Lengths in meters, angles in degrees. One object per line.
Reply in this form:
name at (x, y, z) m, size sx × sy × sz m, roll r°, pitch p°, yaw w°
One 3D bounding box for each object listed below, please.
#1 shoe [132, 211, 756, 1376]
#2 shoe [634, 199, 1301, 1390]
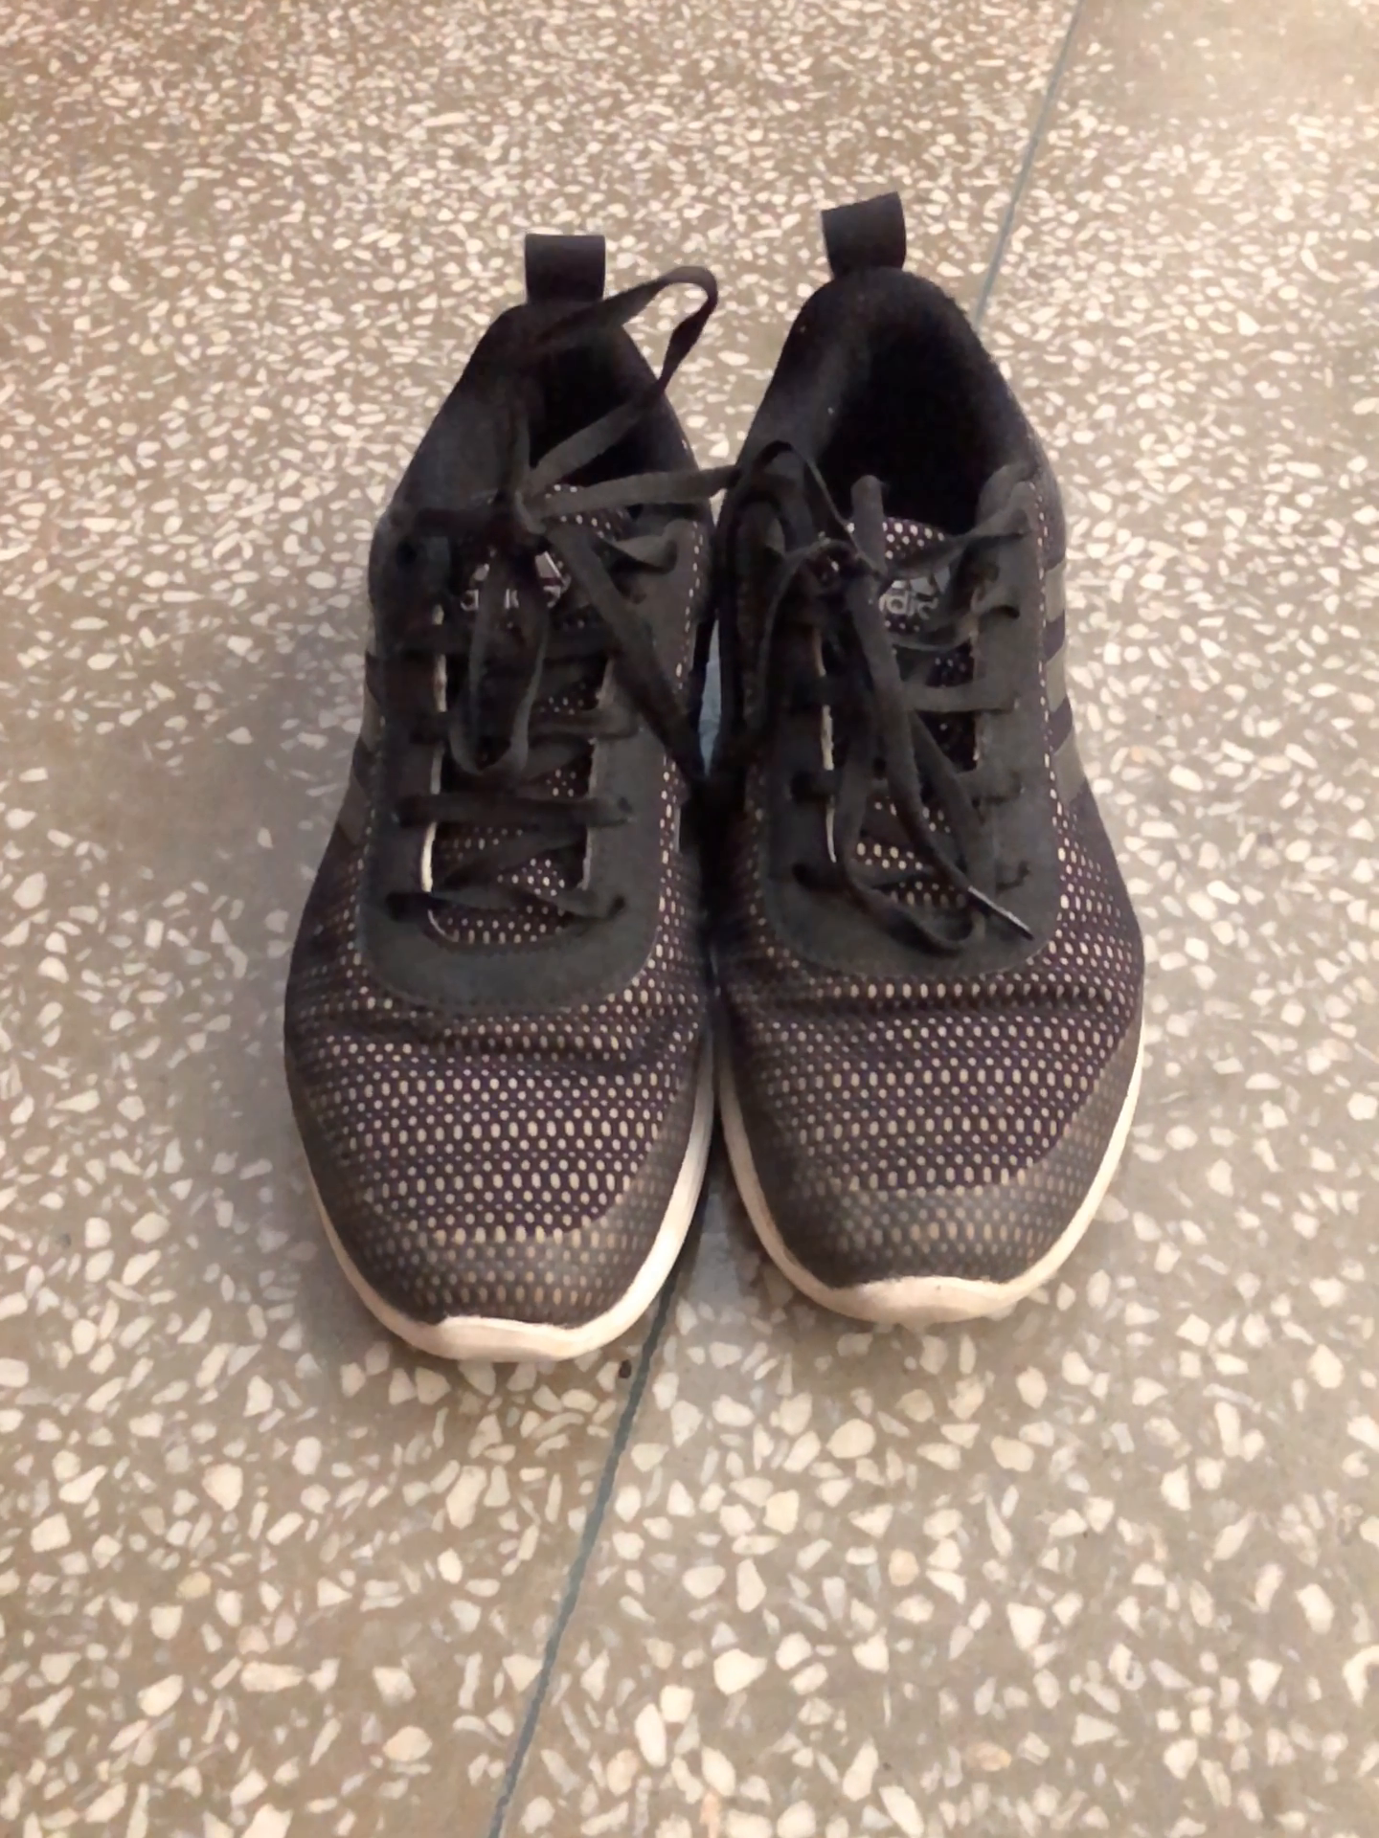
shoe at (-0.039, -0.046, 0.356) m, size 0.100 × 0.080 × 0.281 m, roll -1°, pitch 56°, yaw 1°
shoe at (0.047, -0.045, 0.339) m, size 0.100 × 0.080 × 0.271 m, roll 1°, pitch 56°, yaw 2°
